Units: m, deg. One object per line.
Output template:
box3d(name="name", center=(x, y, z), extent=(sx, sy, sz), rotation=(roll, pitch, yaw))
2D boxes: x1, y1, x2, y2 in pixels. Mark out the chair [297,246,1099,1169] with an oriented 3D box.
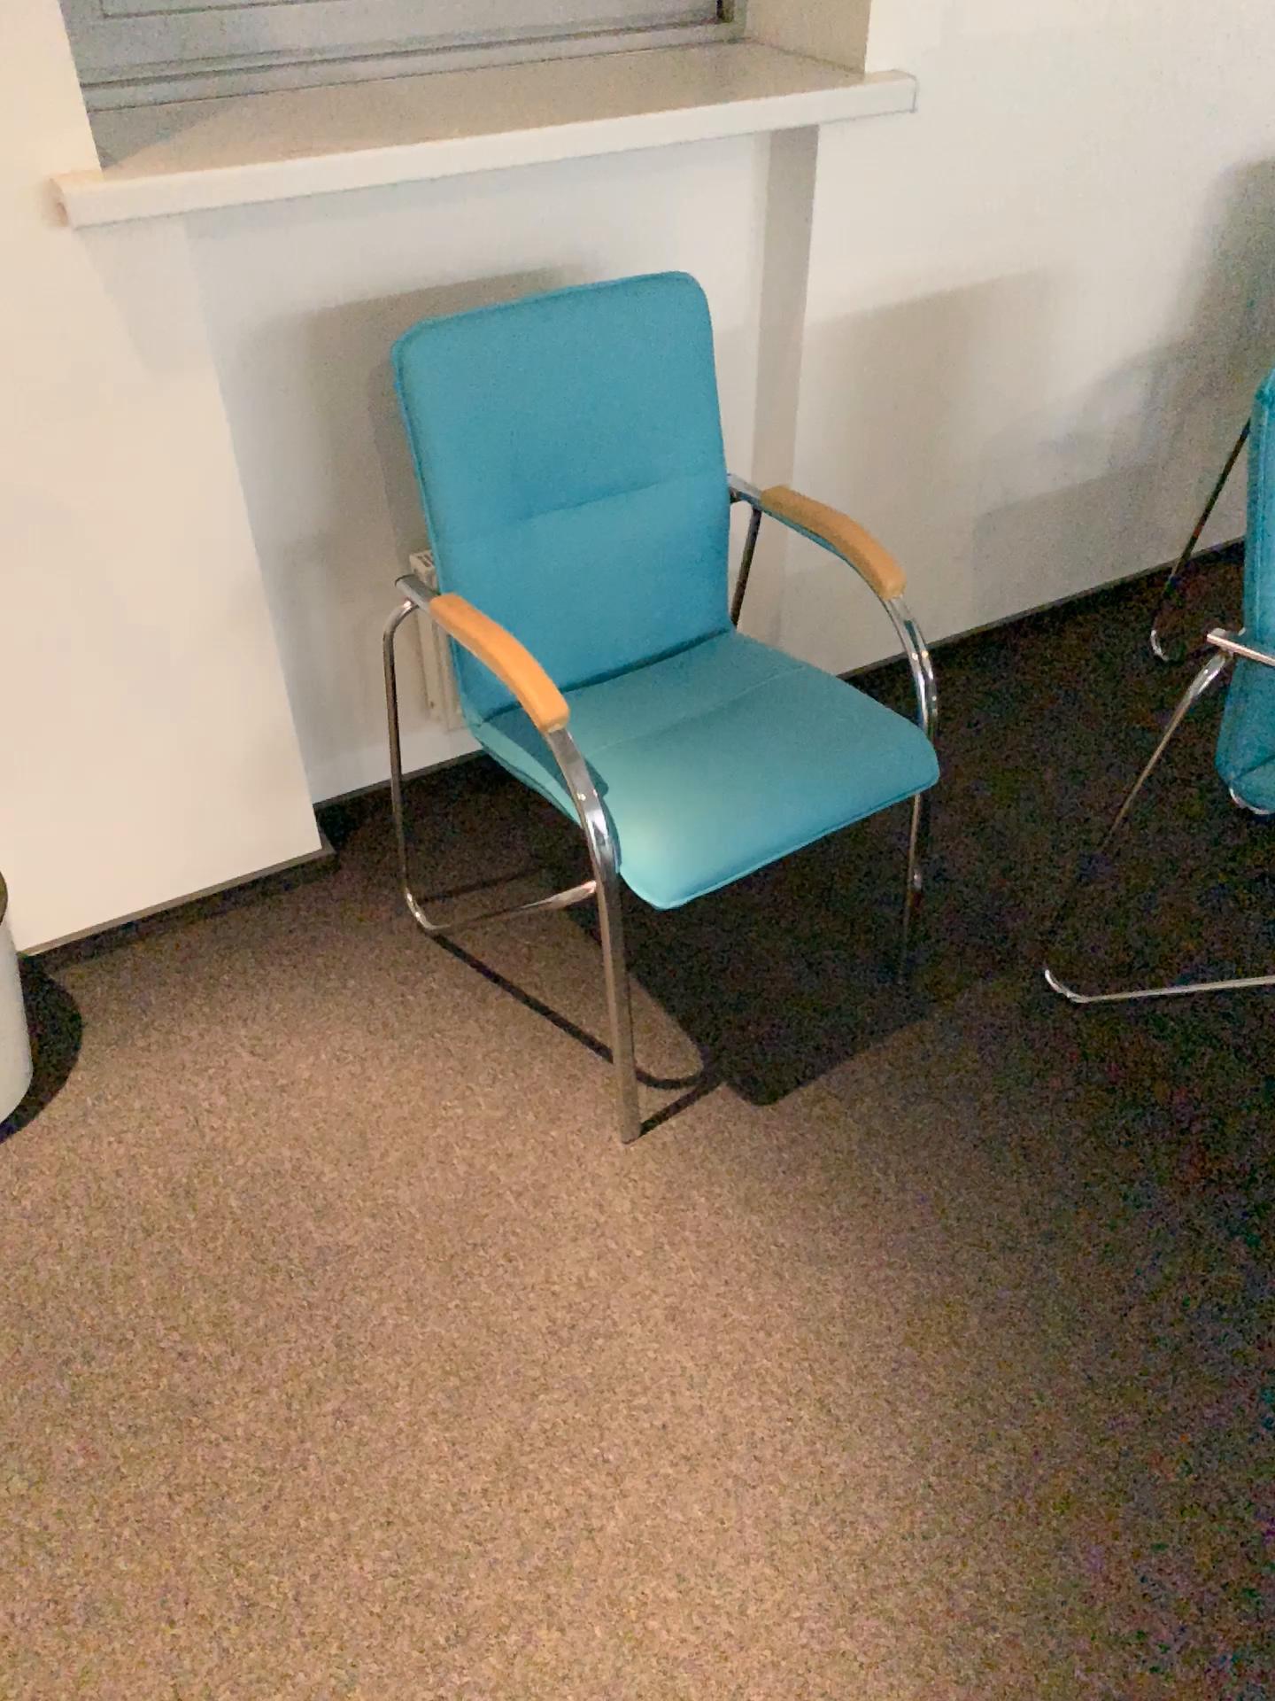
box3d(name="chair", center=(0.048, -0.207, 1.707), extent=(0.631, 0.855, 0.632), rotation=(-24, 46, -25))
